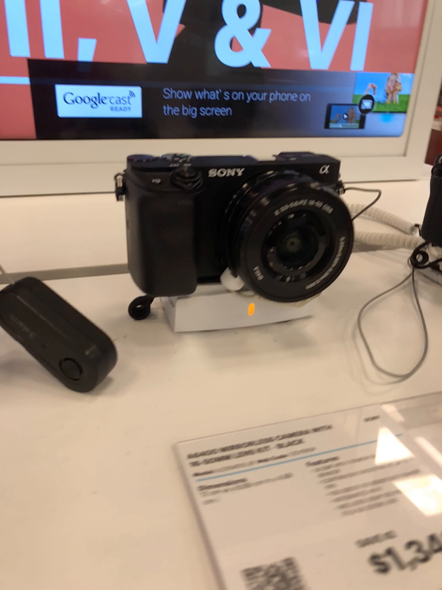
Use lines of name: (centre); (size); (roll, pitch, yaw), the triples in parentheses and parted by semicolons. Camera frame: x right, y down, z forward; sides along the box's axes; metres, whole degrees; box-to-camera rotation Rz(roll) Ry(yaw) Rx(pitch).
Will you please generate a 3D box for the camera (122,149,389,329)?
camera: (0.014, -0.037, 0.269); (0.120, 0.070, 0.070); (-7, 27, -18)
